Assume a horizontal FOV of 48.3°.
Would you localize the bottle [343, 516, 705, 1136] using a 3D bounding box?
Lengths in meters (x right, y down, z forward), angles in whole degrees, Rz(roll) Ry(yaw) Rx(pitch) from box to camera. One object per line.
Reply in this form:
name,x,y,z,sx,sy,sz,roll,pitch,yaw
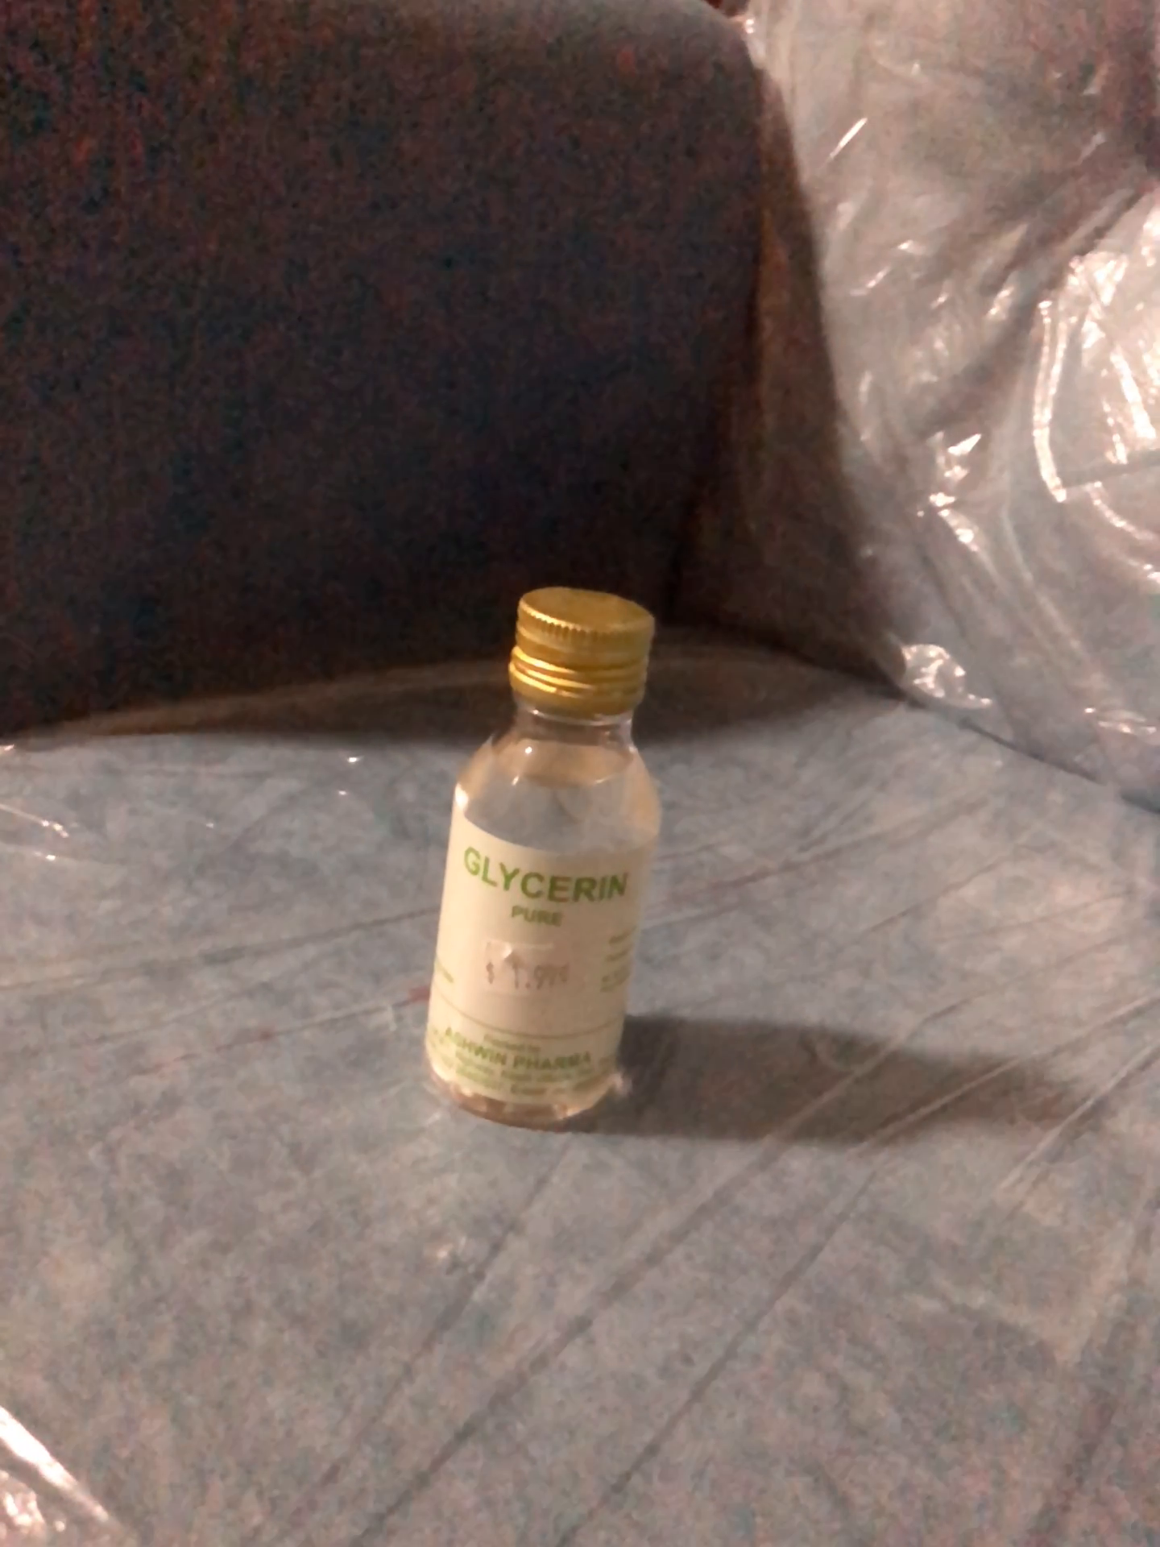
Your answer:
bottle,-0.011,0.008,0.249,0.050,0.100,0.050,5,24,-2
